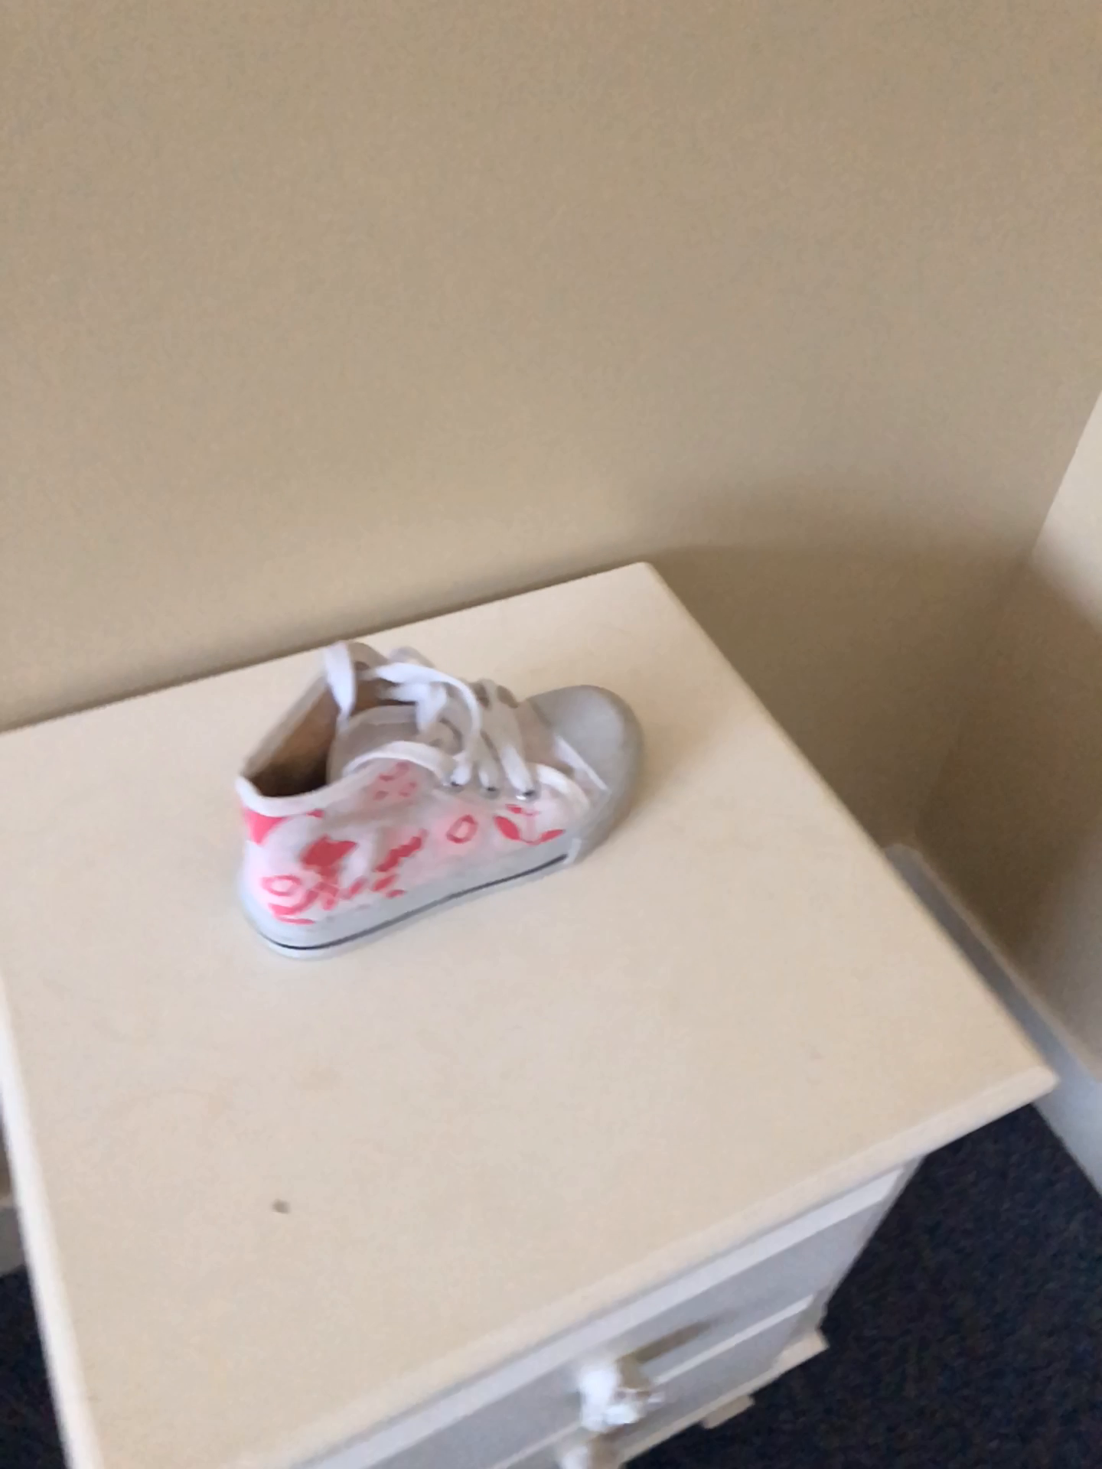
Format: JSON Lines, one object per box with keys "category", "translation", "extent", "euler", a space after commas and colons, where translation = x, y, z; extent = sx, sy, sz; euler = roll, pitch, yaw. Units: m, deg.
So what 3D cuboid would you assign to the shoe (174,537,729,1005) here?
{"category": "shoe", "translation": [-0.036, 0.010, 0.487], "extent": [0.191, 0.099, 0.080], "euler": [-22, 52, -23]}
